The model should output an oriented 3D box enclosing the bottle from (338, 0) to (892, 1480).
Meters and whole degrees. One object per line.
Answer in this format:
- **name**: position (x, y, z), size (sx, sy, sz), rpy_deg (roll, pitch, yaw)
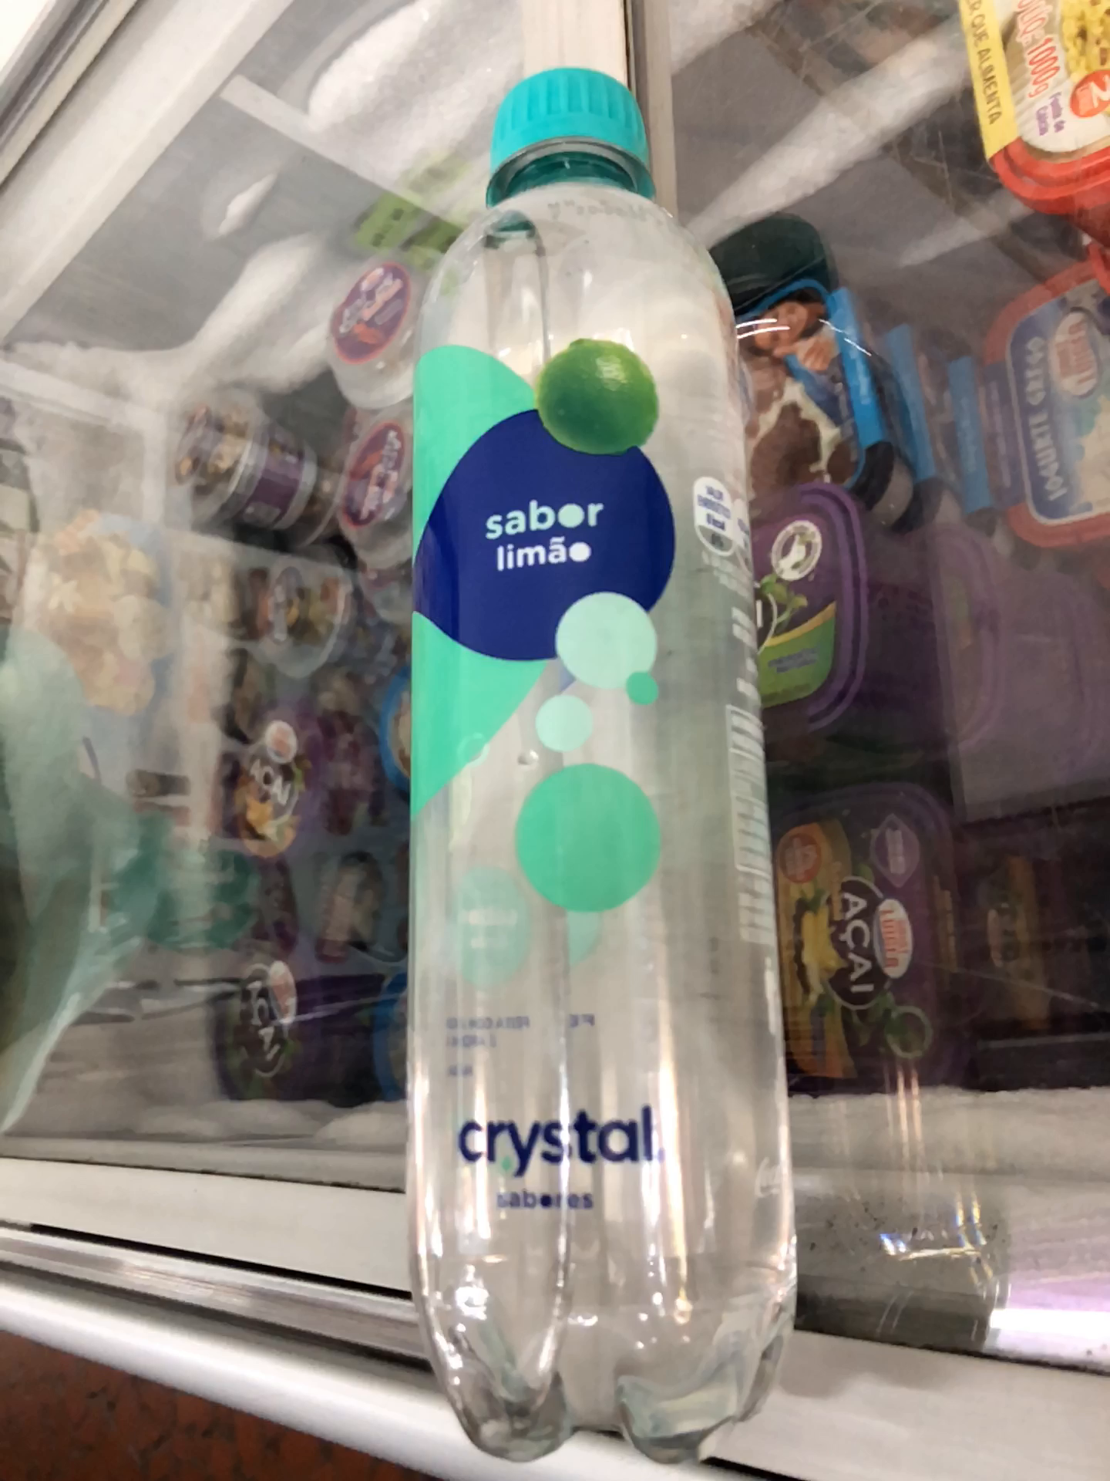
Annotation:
- **bottle**: position (0.012, 0.011, 0.204), size (0.070, 0.070, 0.240), rpy_deg (-3, 81, 14)
